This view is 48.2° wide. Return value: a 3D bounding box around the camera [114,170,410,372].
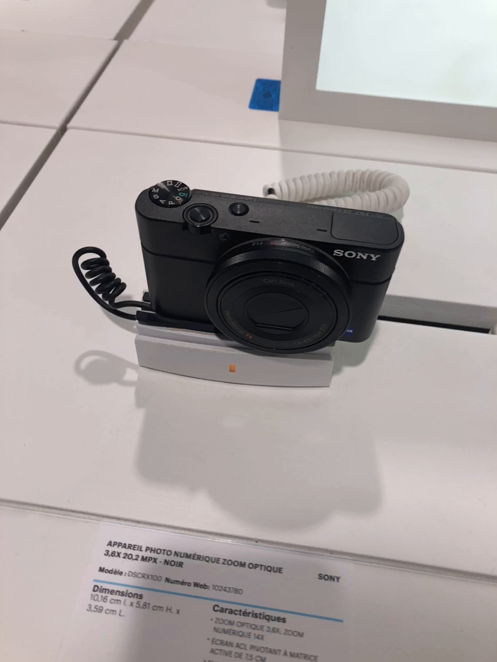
[{"bbox_3d":[0.006,-0.023,0.218,0.100,0.056,0.036,9,49,5],"label":"camera"}]
